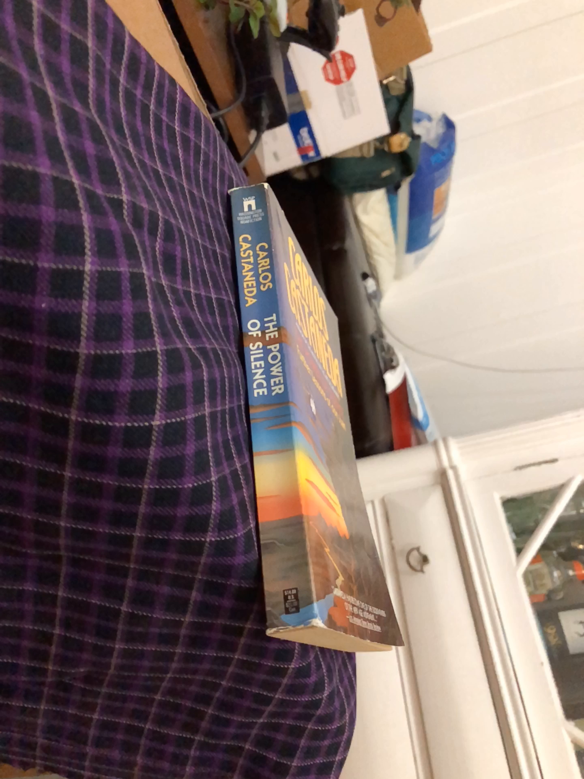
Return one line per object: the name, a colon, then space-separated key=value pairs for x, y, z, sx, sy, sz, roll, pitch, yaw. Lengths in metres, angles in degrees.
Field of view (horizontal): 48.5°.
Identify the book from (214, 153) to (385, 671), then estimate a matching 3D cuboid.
book: x=0.005 y=0.017 z=0.325 sx=0.150 sy=0.020 sz=0.220 roll=54 pitch=26 yaw=-59
